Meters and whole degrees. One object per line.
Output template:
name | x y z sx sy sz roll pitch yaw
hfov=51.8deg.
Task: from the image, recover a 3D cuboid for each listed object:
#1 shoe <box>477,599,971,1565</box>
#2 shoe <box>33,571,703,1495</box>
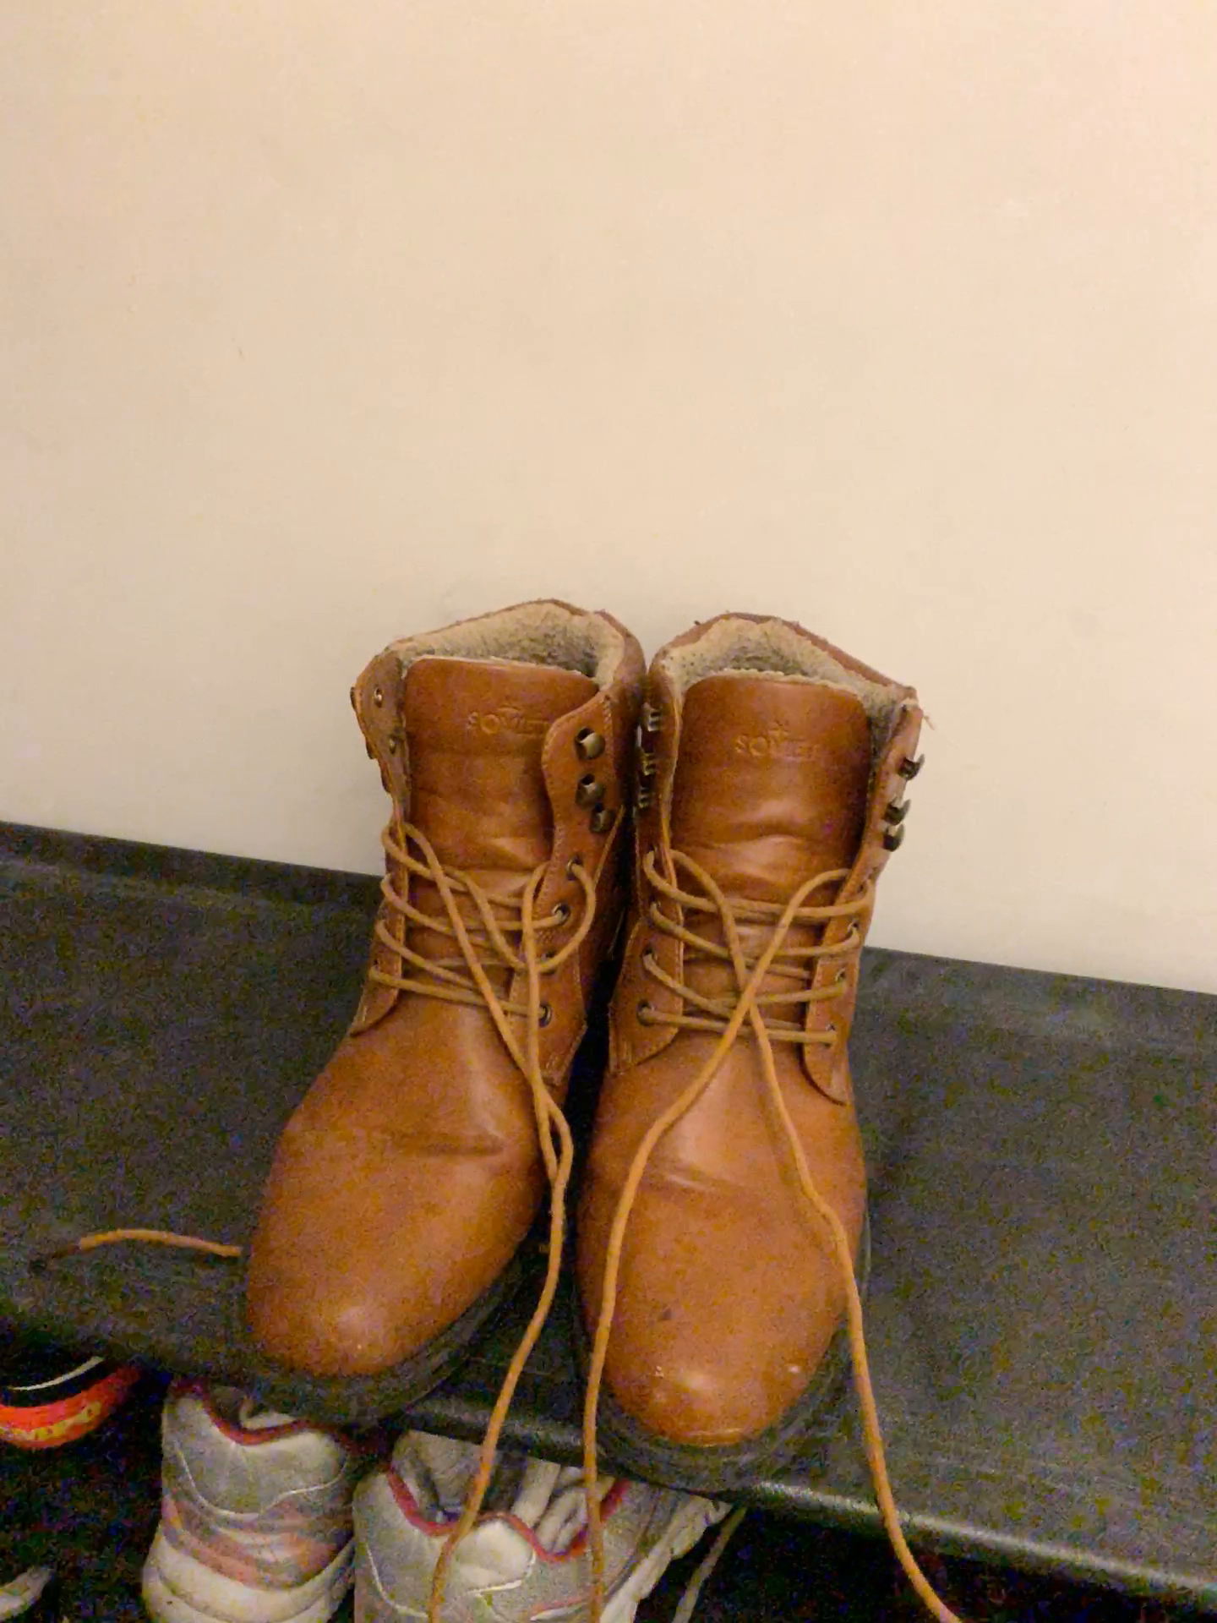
shoe | 0.047 0.071 0.430 0.110 0.198 0.242 6 32 9
shoe | -0.057 0.057 0.476 0.110 0.198 0.272 10 33 15
